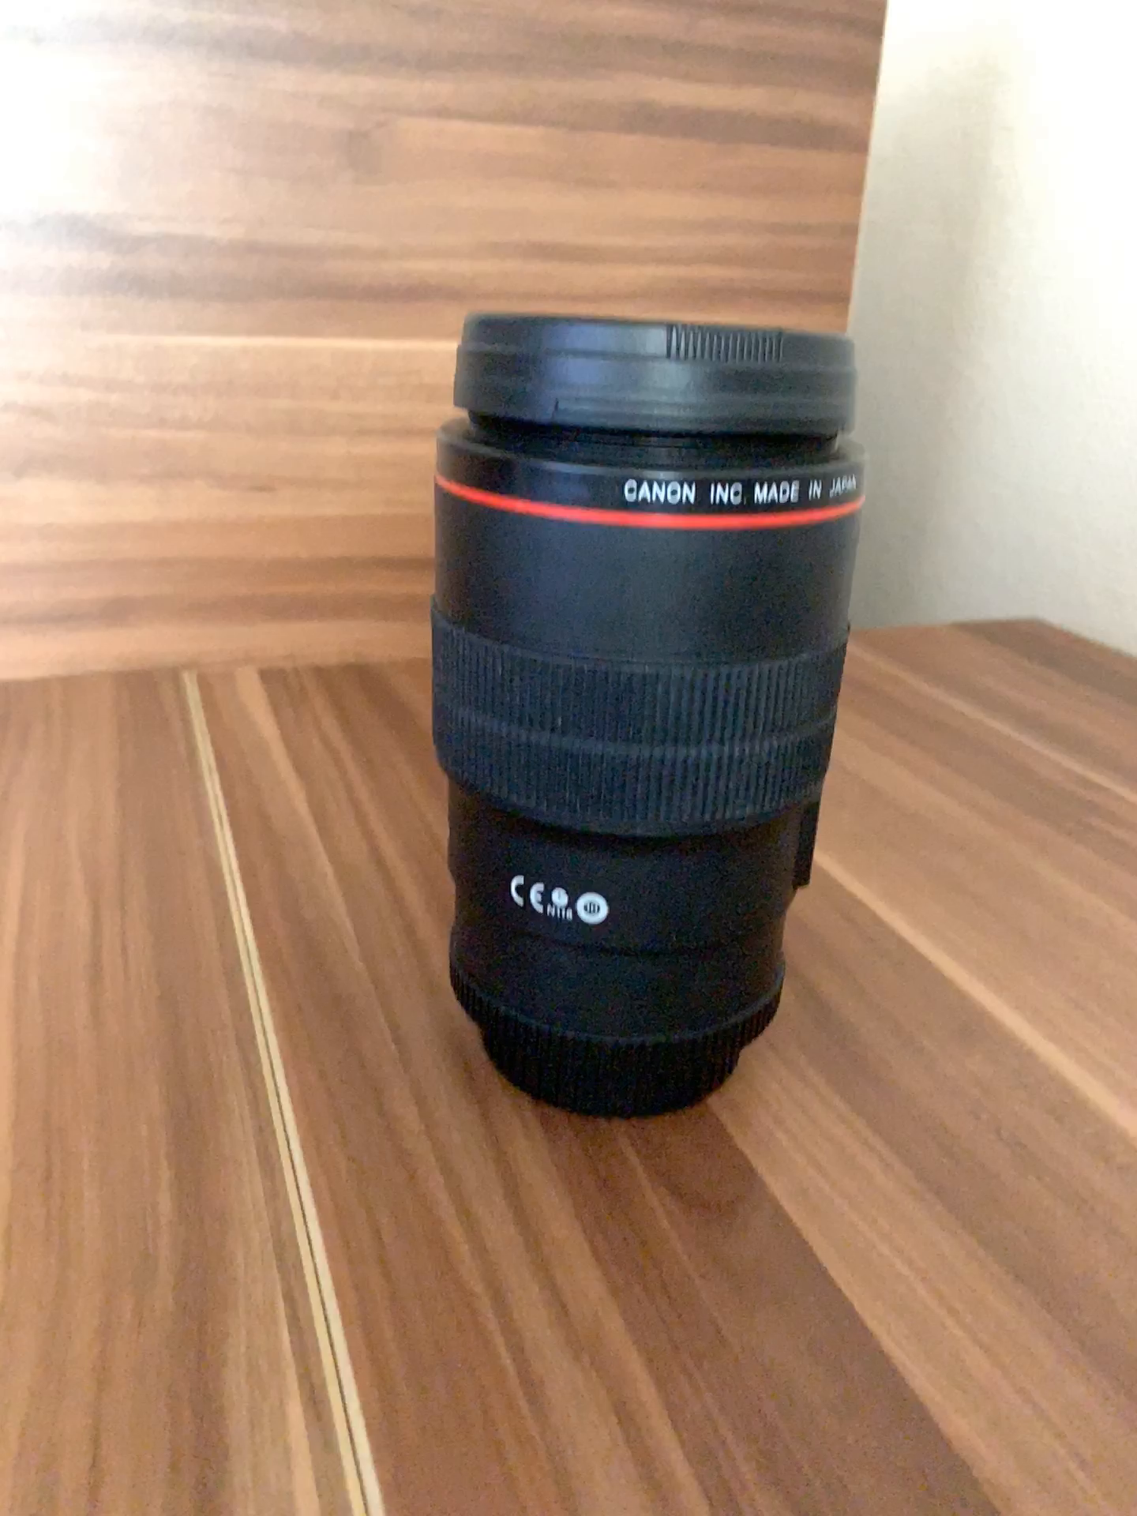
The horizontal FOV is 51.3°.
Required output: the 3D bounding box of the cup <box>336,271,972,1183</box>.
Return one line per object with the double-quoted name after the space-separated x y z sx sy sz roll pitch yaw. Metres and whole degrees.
0.008 -0.014 0.222 0.070 0.139 0.080 -13 27 -34 "cup"
